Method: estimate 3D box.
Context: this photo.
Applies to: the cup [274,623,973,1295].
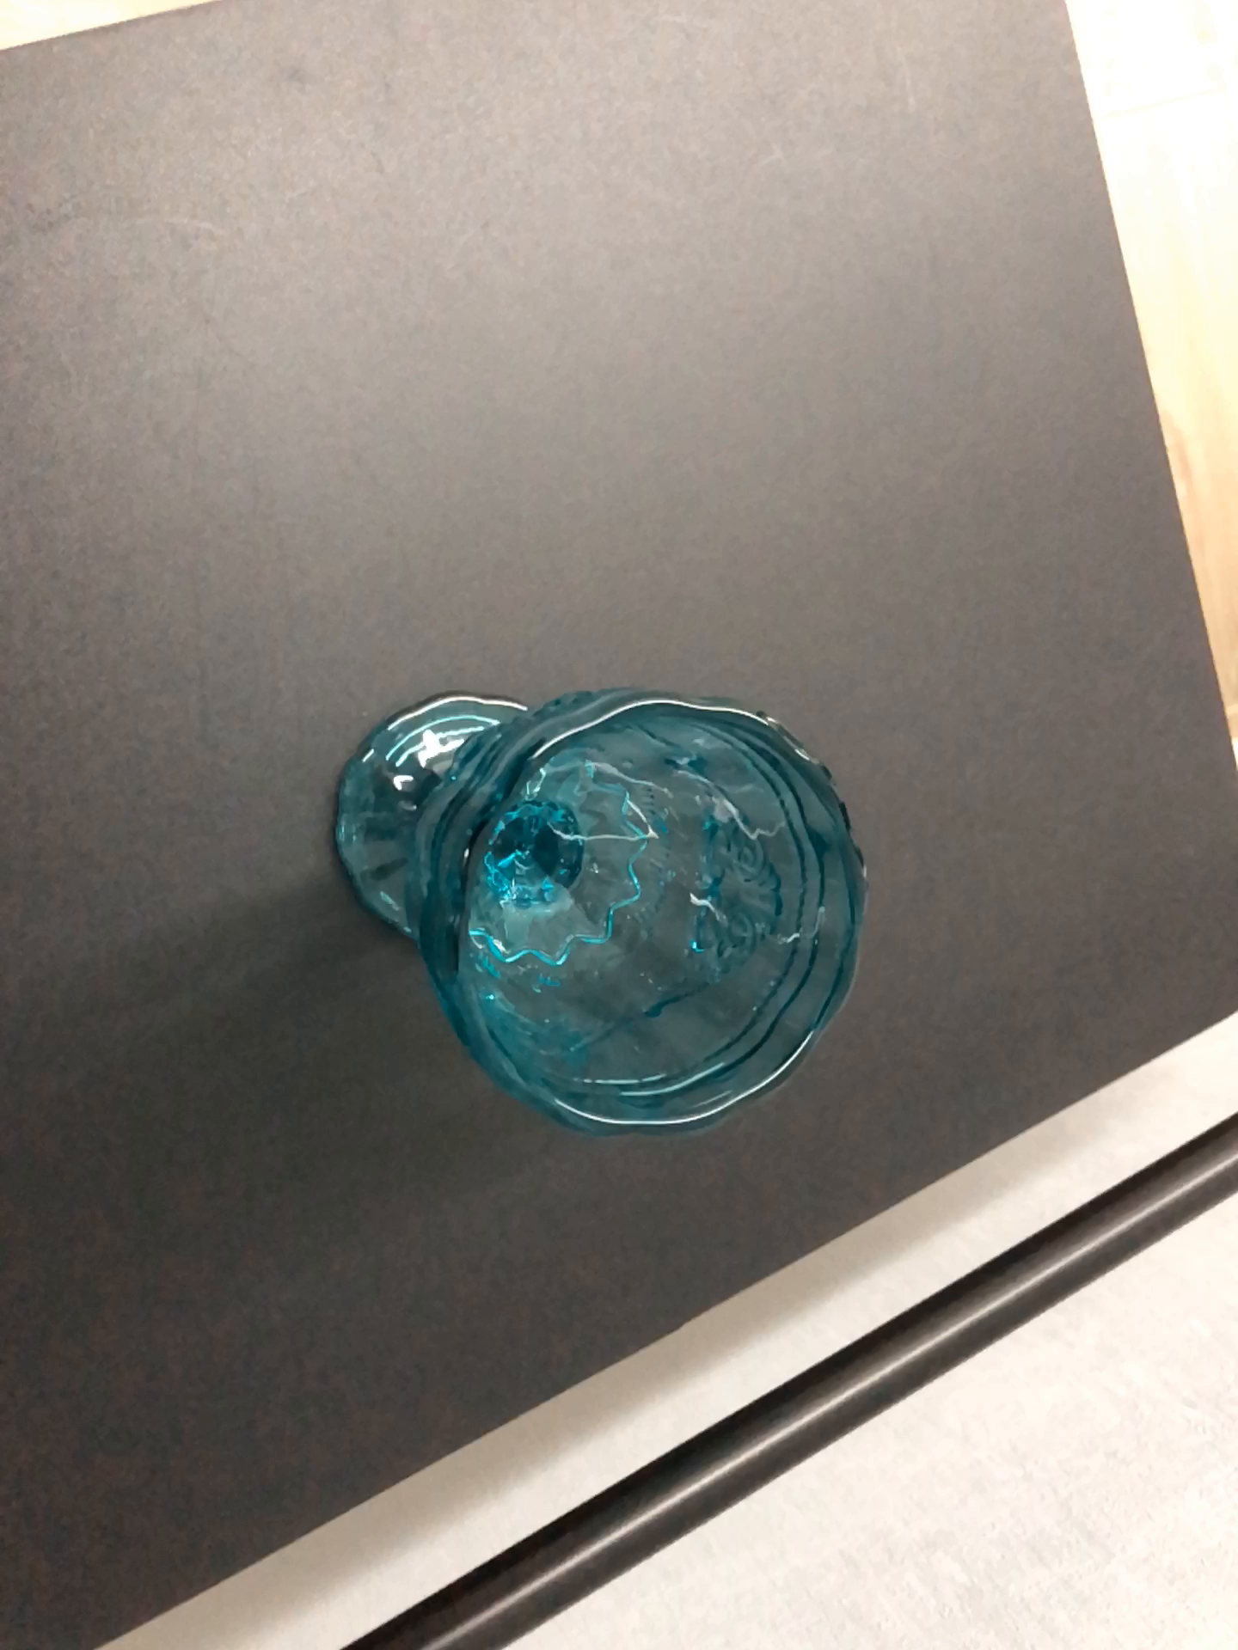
[{"bbox_3d":[-0.012,0.013,0.318,0.085,0.165,0.095,-22,104,-17],"label":"cup"}]
